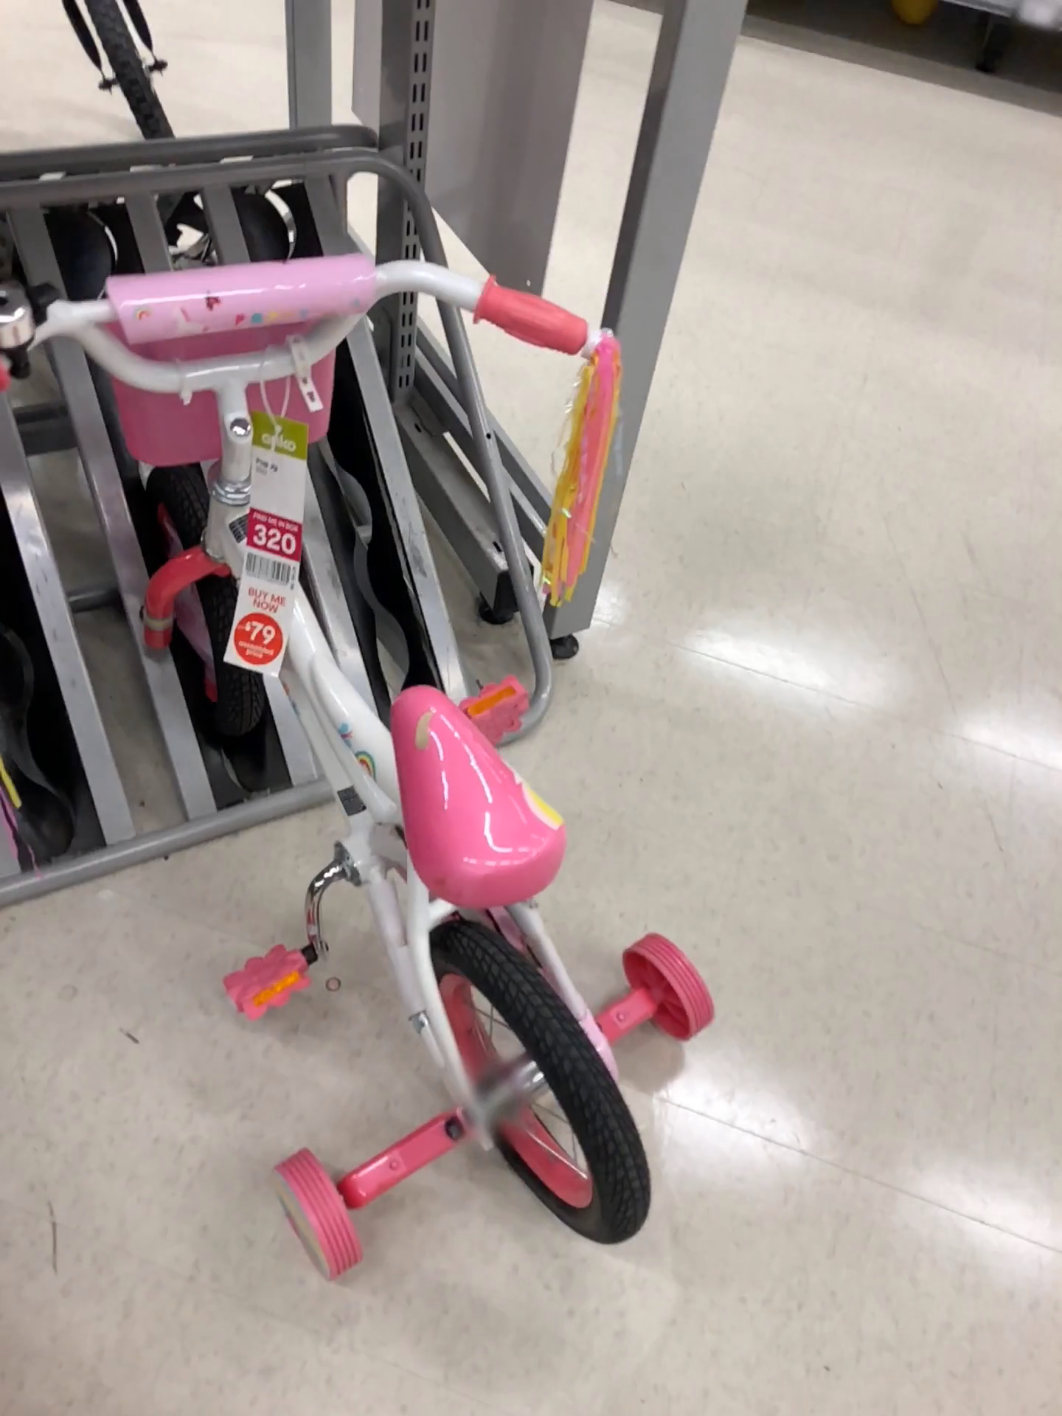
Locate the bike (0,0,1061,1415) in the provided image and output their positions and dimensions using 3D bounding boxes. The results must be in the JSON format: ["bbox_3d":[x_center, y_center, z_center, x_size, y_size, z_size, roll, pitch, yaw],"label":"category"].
[{"bbox_3d":[-0.176,-0.037,0.954,0.516,0.591,0.945,-26,60,-27],"label":"bike"}]
